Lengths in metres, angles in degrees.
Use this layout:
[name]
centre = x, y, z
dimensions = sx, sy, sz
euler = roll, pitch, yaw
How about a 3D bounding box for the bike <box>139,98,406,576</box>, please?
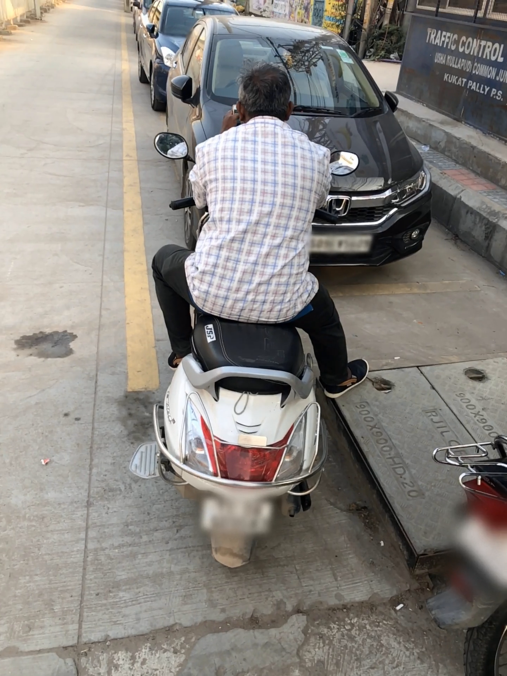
[bike]
centre = 0.040, -0.149, 2.149
dimensions = 0.640, 0.858, 1.609
euler = 3, 40, -2
